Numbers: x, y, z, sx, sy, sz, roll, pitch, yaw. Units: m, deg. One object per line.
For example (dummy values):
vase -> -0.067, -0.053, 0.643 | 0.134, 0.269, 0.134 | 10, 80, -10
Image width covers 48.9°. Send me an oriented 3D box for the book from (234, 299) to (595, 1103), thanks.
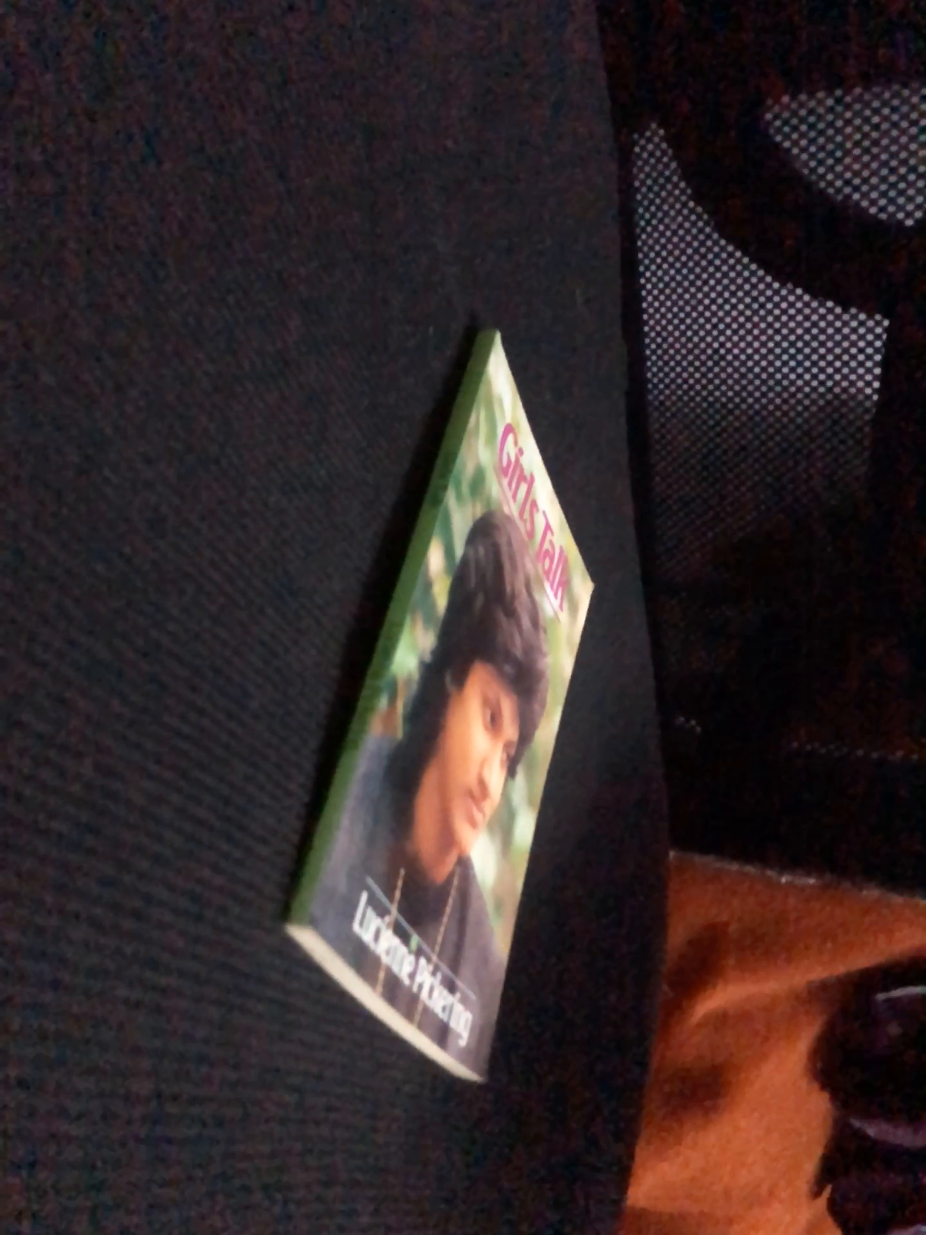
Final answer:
book -> 0.003, 0.022, 0.305 | 0.131, 0.010, 0.200 | 62, 36, -47
